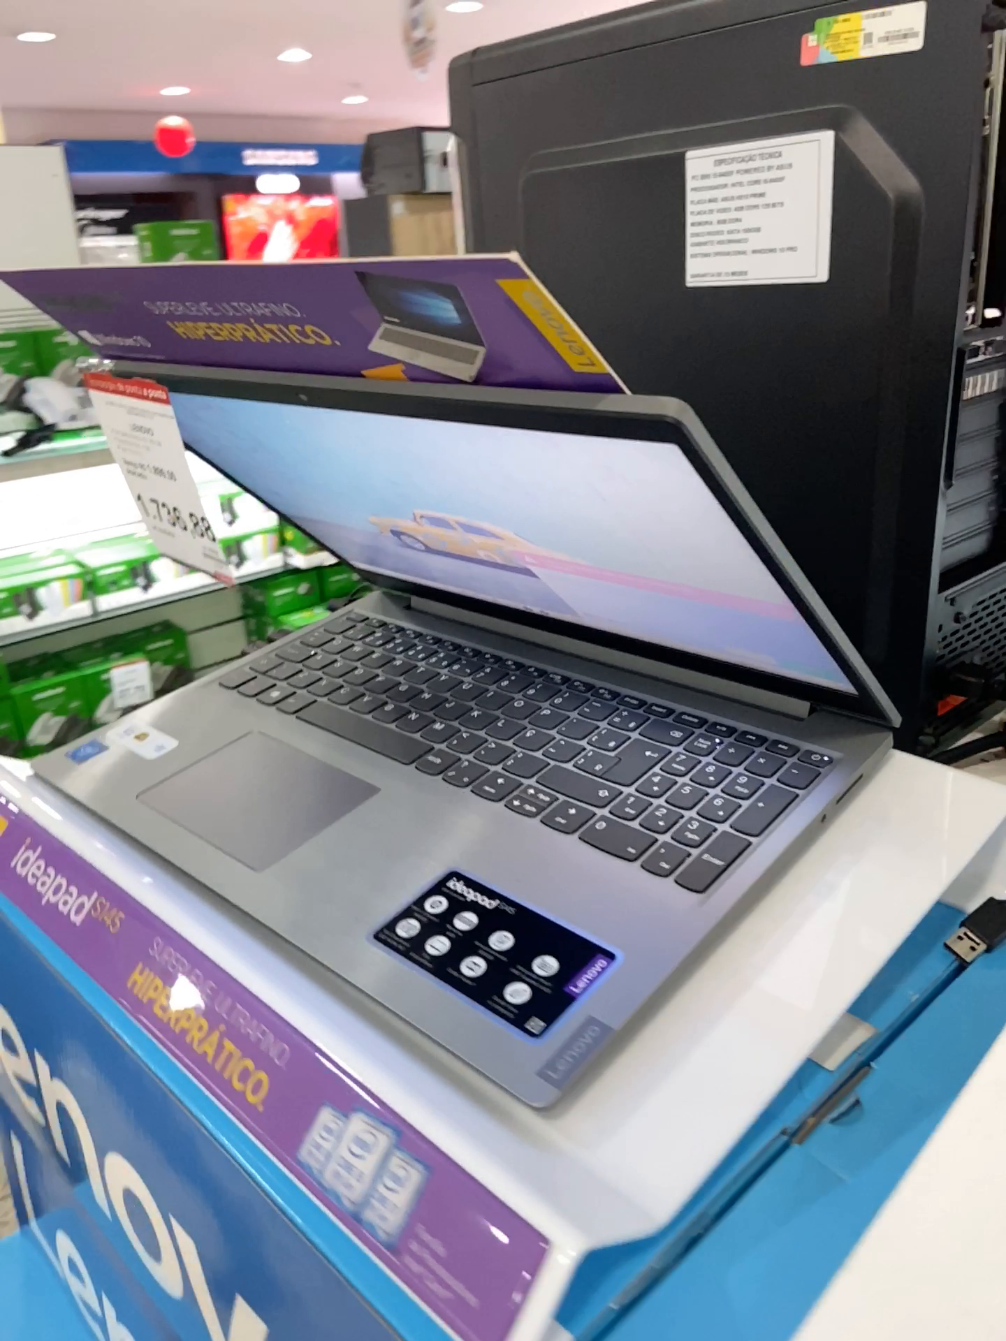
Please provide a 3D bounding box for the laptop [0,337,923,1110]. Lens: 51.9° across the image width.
[{"bbox_3d":[-0.042,-0.036,0.475,0.357,0.161,0.244,17,35,40],"label":"laptop"}]
